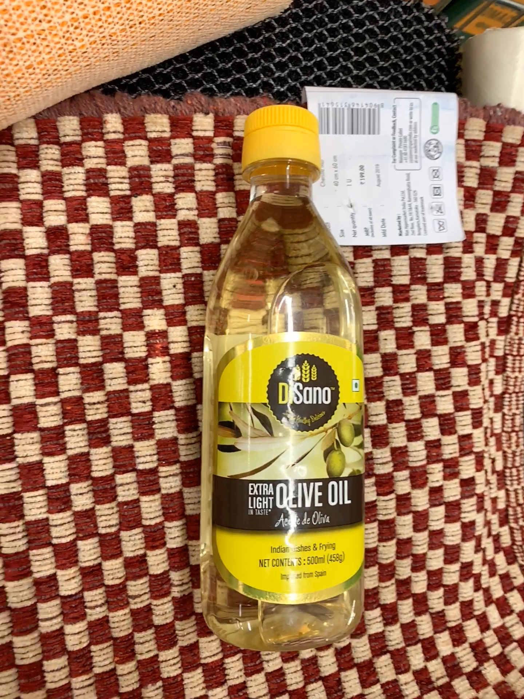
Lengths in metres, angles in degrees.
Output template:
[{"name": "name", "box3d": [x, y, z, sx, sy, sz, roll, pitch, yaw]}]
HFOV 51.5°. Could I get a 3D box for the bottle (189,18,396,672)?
[{"name": "bottle", "box3d": [0.010, -0.003, 0.230, 0.070, 0.060, 0.230, 1, 88, -16]}]
